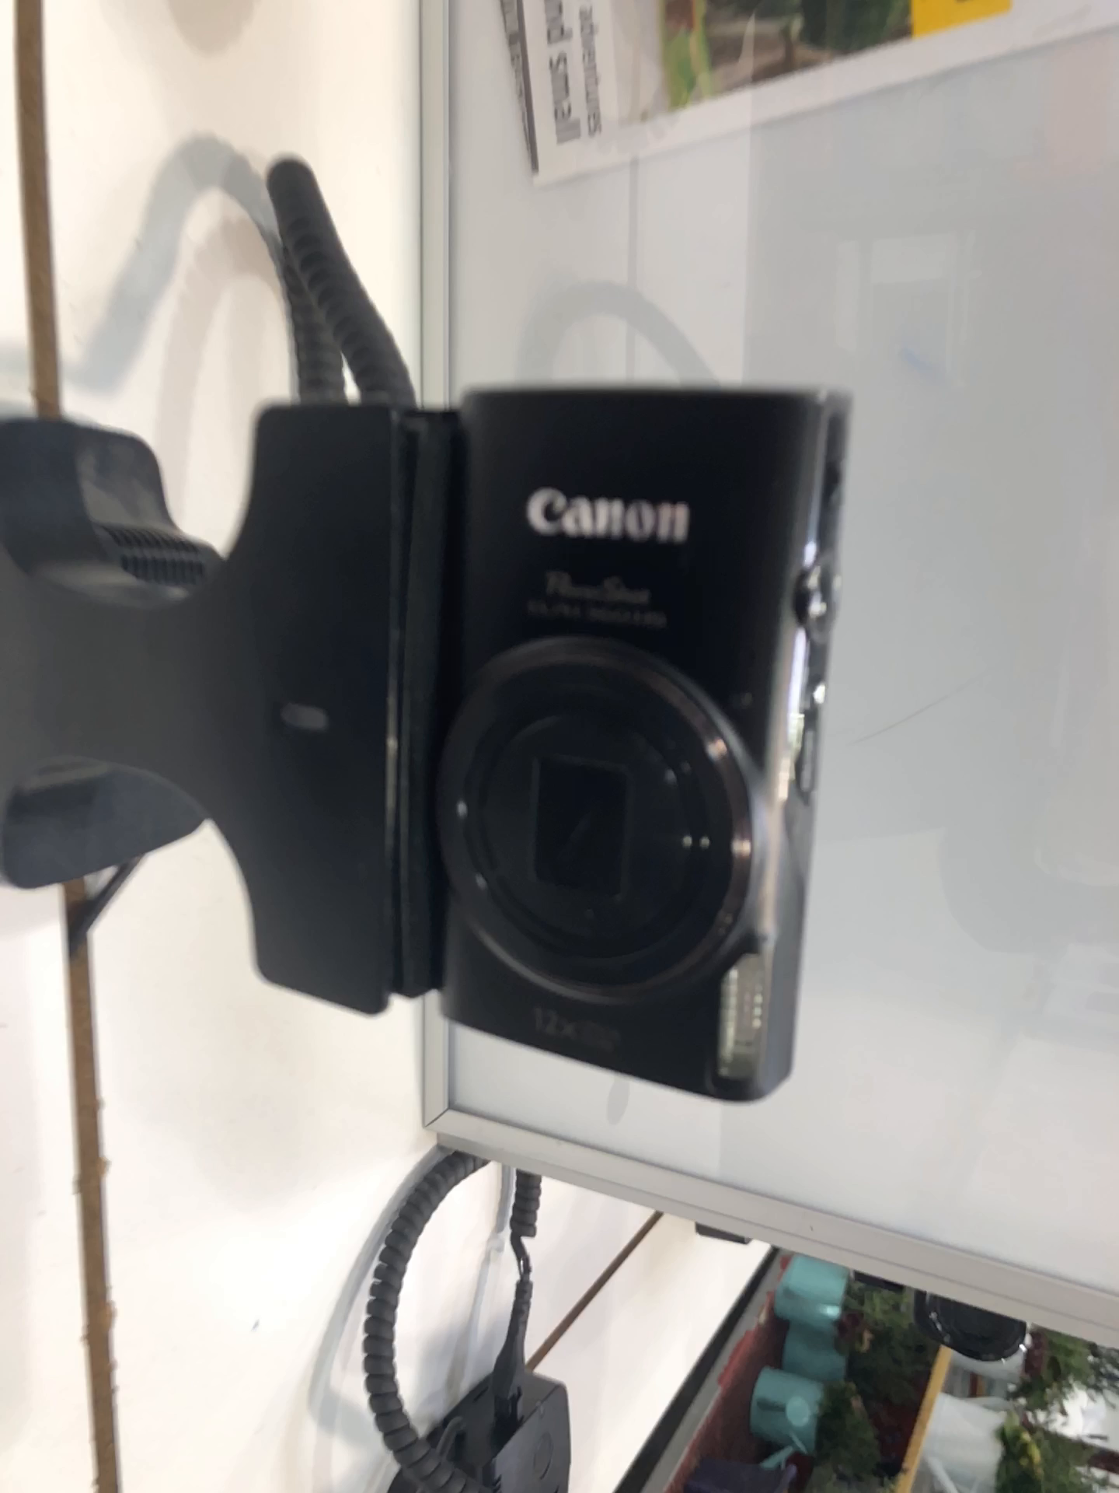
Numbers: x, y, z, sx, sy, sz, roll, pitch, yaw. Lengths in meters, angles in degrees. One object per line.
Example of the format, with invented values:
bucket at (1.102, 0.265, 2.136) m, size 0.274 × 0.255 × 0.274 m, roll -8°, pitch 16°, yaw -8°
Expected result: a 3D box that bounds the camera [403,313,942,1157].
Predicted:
camera at (0.015, -0.004, 0.190) m, size 0.030 × 0.070 × 0.110 m, roll -13°, pitch 108°, yaw -61°
